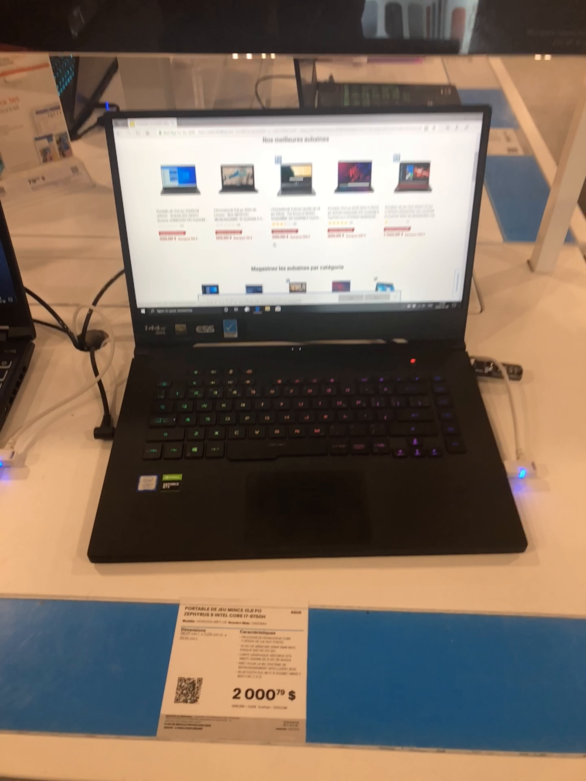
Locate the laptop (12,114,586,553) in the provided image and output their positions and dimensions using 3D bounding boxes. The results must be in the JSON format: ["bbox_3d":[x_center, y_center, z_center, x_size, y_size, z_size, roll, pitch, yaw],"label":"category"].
[{"bbox_3d":[0.013,-0.060,0.542,0.340,0.207,0.316,-1,45,1],"label":"laptop"}]
